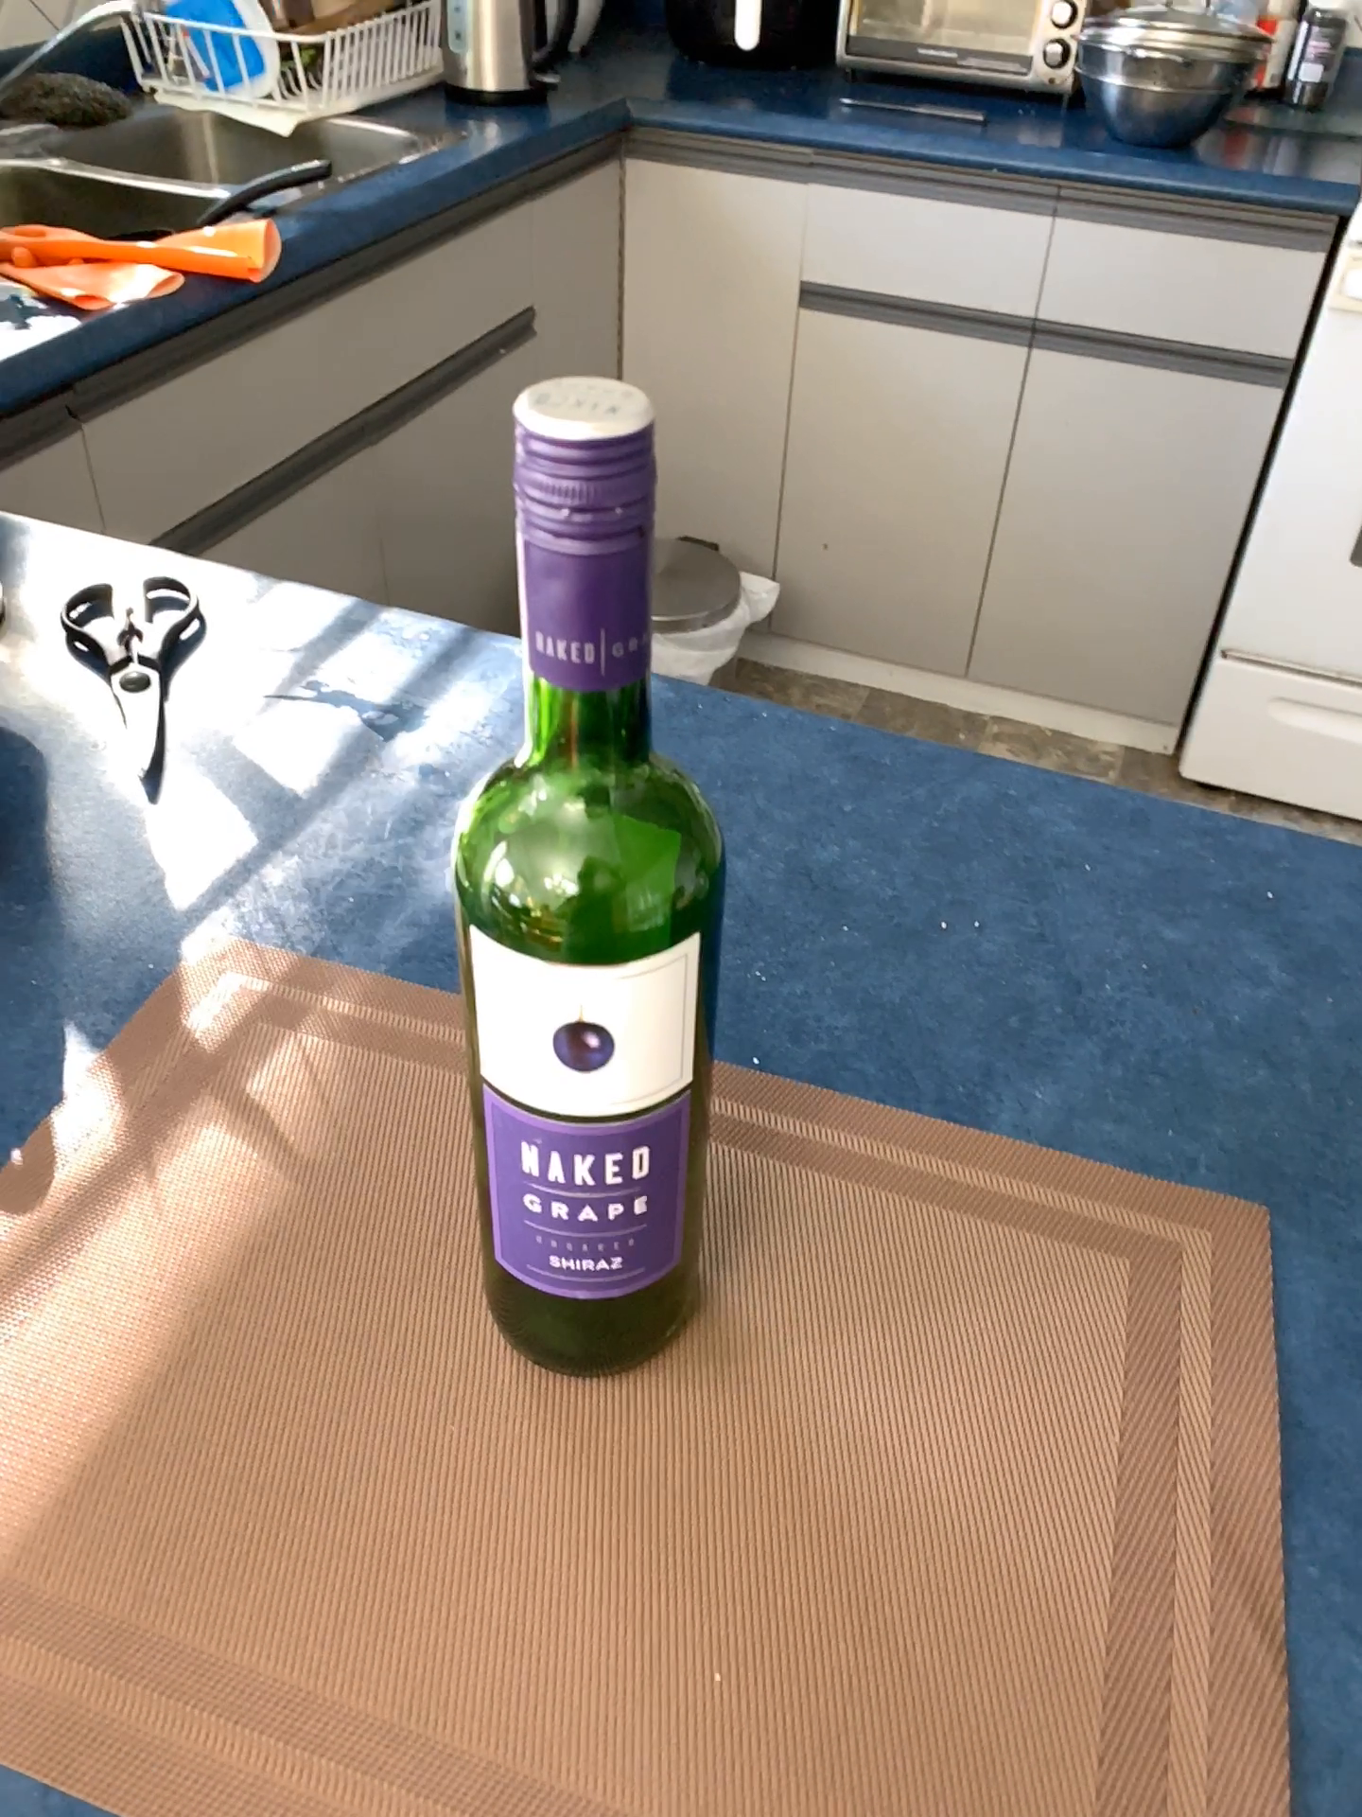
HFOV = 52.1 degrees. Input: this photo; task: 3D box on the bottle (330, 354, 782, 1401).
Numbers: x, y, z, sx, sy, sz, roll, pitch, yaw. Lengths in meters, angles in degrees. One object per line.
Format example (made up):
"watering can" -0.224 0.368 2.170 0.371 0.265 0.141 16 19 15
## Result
"bottle" -0.028 0.015 0.369 0.080 0.287 0.081 2 39 -1
